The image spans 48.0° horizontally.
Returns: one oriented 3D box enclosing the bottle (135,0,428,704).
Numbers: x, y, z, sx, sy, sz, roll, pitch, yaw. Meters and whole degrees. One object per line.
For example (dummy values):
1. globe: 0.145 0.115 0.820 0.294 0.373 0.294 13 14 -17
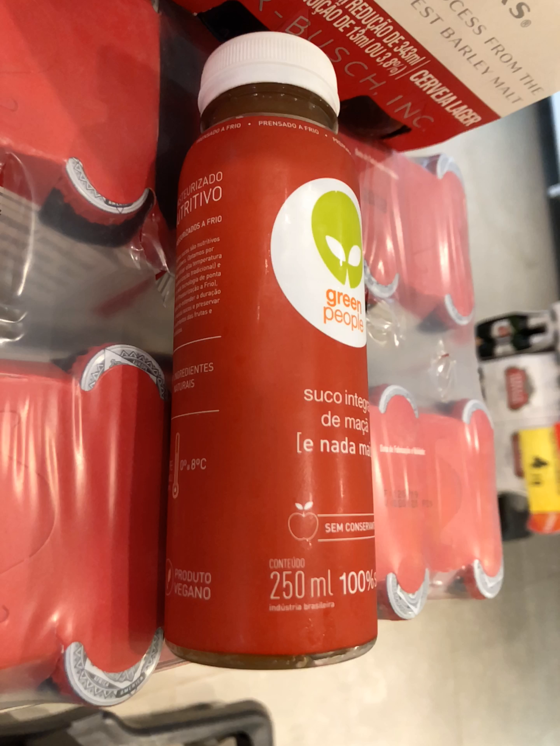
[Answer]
1. bottle: 0.003 -0.019 0.170 0.060 0.040 0.180 11 75 -43
